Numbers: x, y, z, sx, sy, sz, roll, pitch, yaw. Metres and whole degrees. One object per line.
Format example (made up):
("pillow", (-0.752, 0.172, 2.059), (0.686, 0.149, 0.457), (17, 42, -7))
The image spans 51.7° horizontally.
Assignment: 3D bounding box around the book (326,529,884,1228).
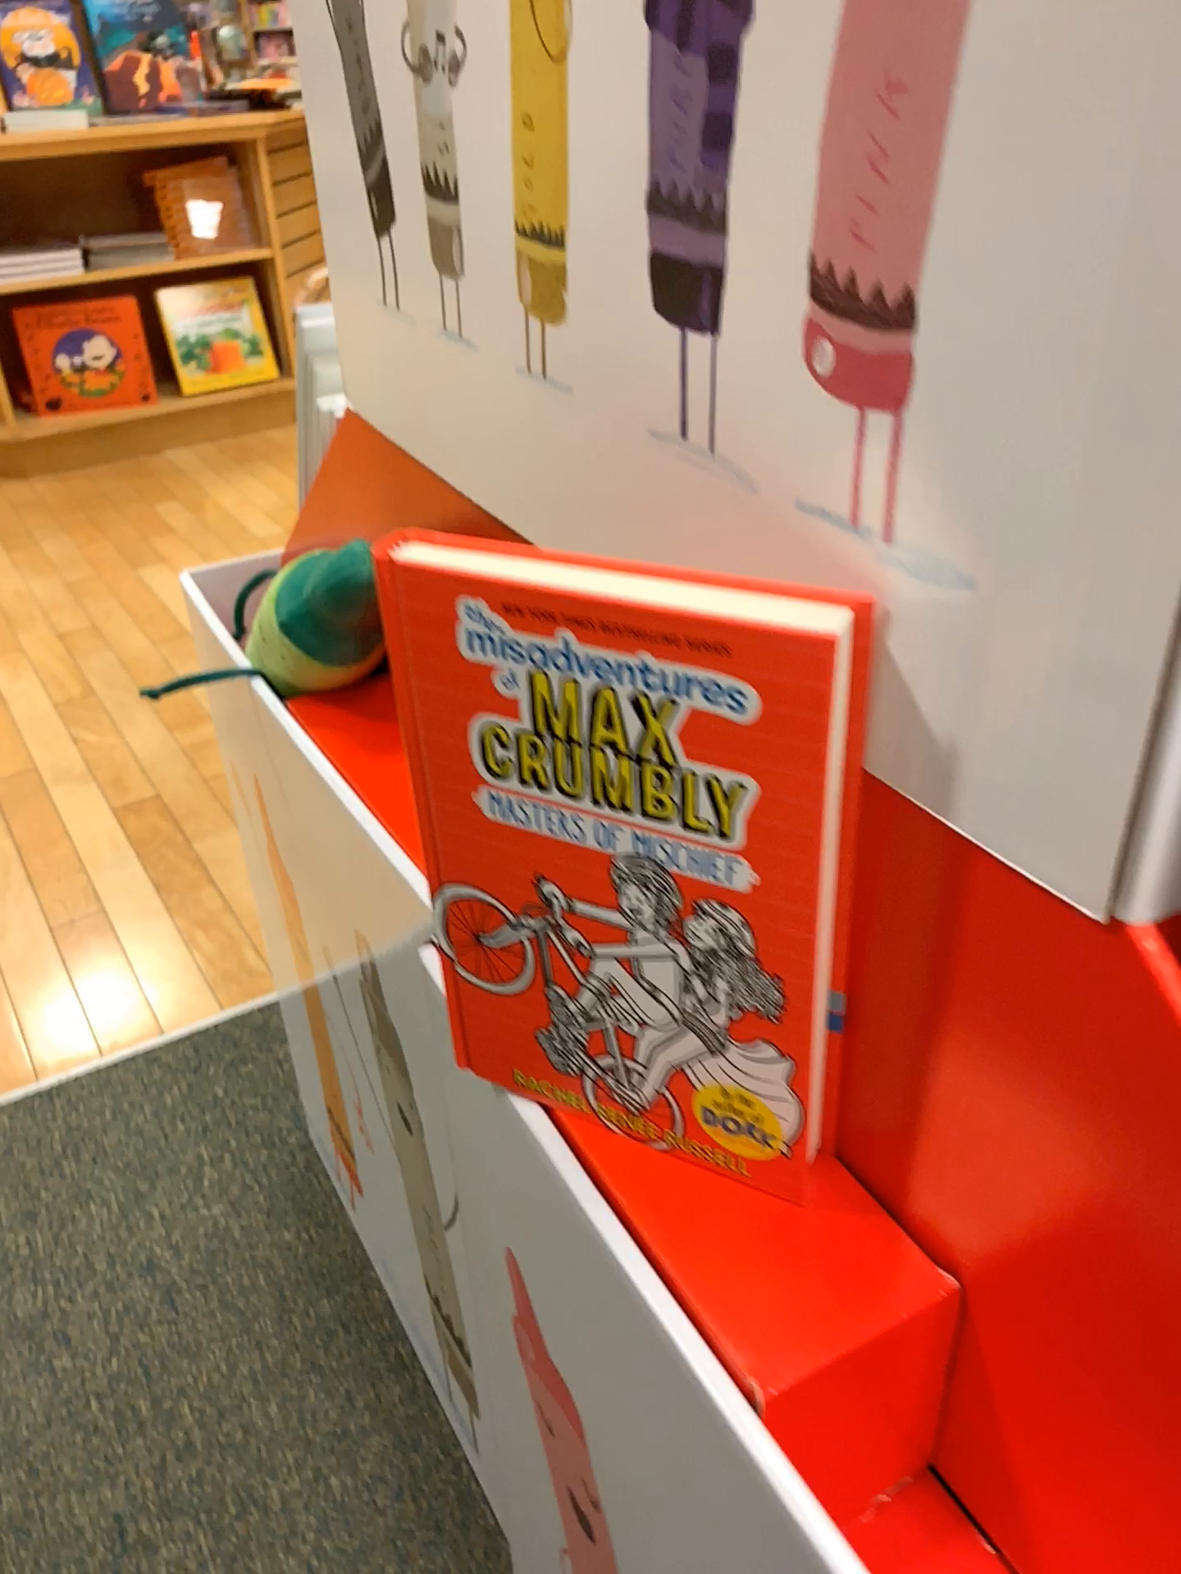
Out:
("book", (0.005, 0.032, 0.365), (0.142, 0.201, 0.031), (13, 37, 23))
